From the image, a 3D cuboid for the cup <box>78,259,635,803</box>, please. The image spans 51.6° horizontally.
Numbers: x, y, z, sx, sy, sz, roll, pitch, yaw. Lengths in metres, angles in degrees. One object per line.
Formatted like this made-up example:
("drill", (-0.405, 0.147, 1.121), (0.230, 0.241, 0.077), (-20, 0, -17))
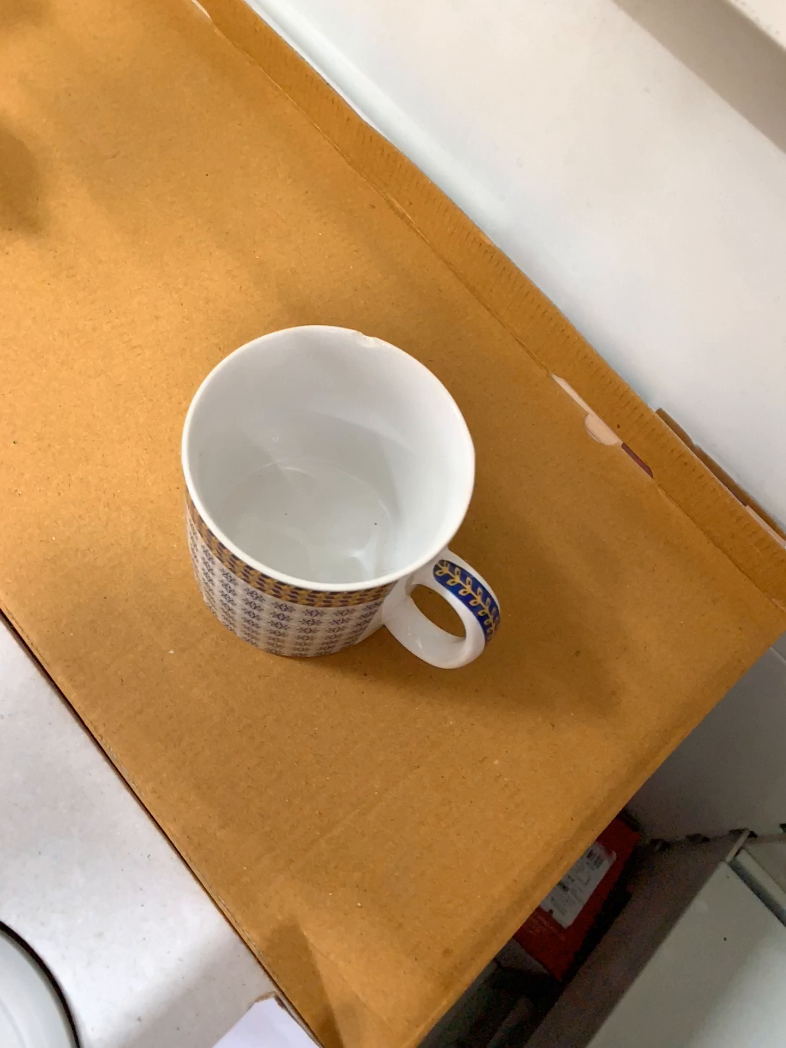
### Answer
("cup", (-0.012, 0.004, 0.226), (0.110, 0.070, 0.080), (40, 62, 6))
